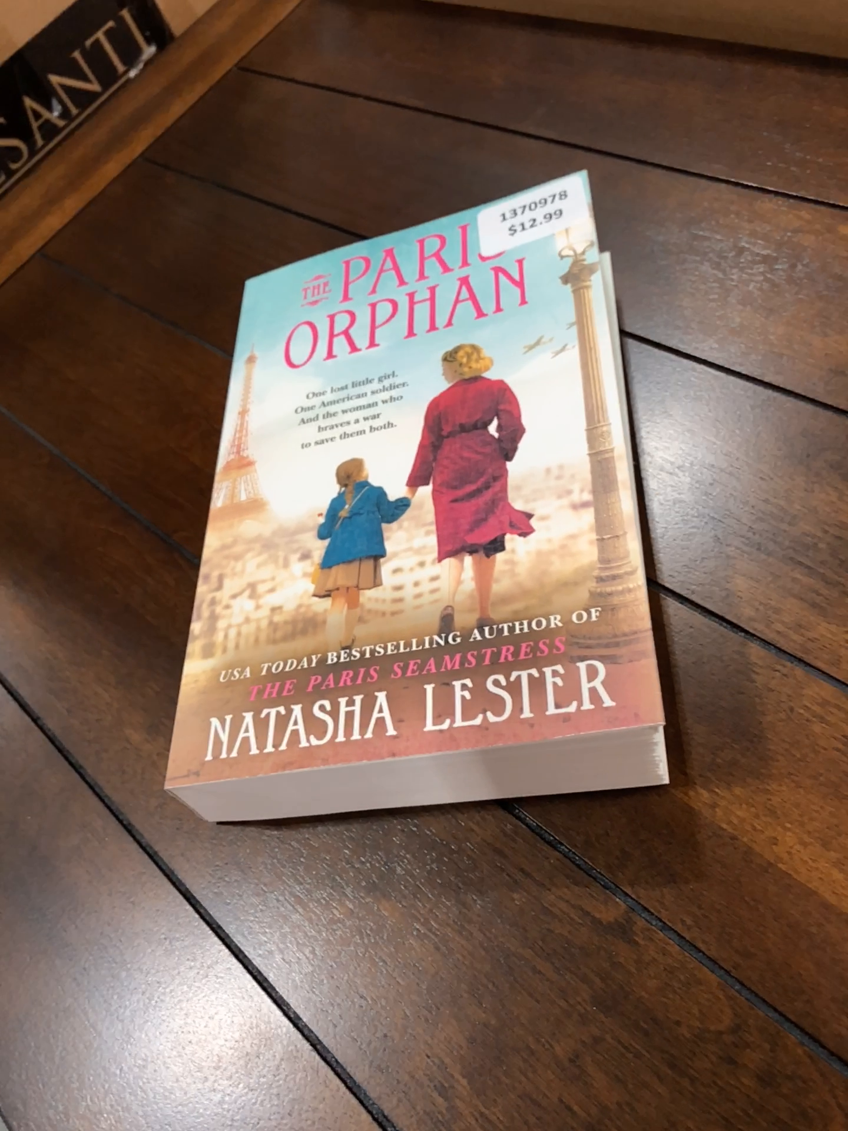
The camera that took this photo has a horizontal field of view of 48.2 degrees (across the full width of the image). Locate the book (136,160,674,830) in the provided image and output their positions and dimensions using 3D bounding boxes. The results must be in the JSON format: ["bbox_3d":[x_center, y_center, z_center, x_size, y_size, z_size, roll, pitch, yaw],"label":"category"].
[{"bbox_3d":[-0.006,-0.028,0.294,0.134,0.035,0.199,-11,57,19],"label":"book"}]
